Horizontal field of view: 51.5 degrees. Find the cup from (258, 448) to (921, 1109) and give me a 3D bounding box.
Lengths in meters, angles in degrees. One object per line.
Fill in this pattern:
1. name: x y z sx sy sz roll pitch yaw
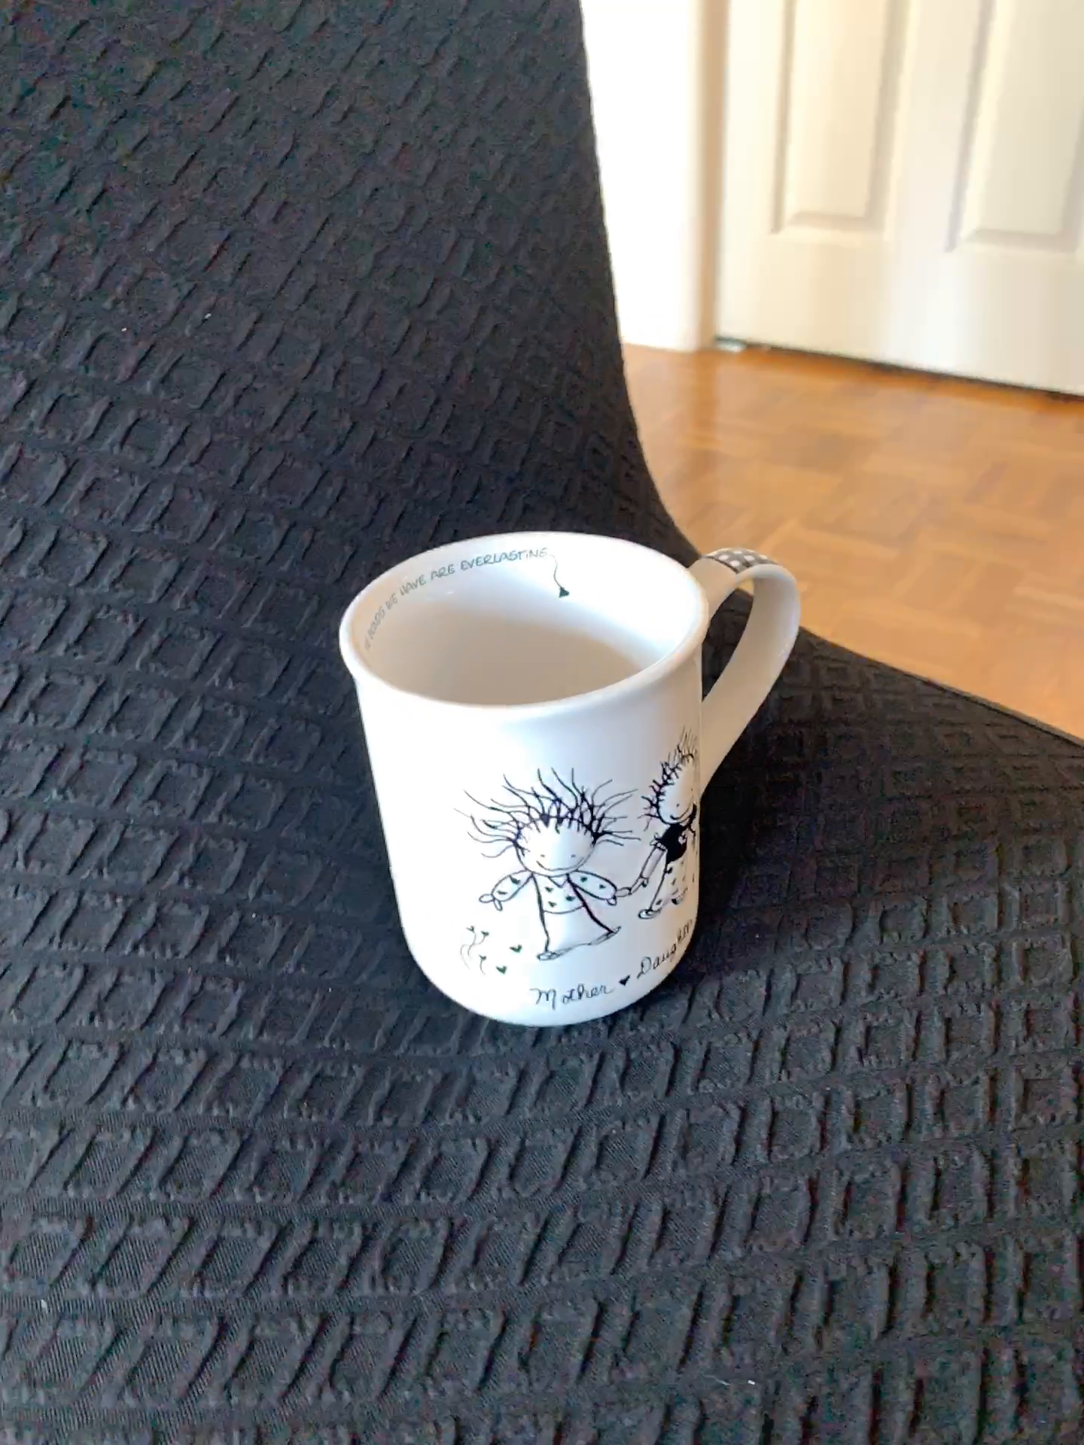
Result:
1. cup: 0.014 0.007 0.324 0.140 0.109 0.100 -24 41 -25
